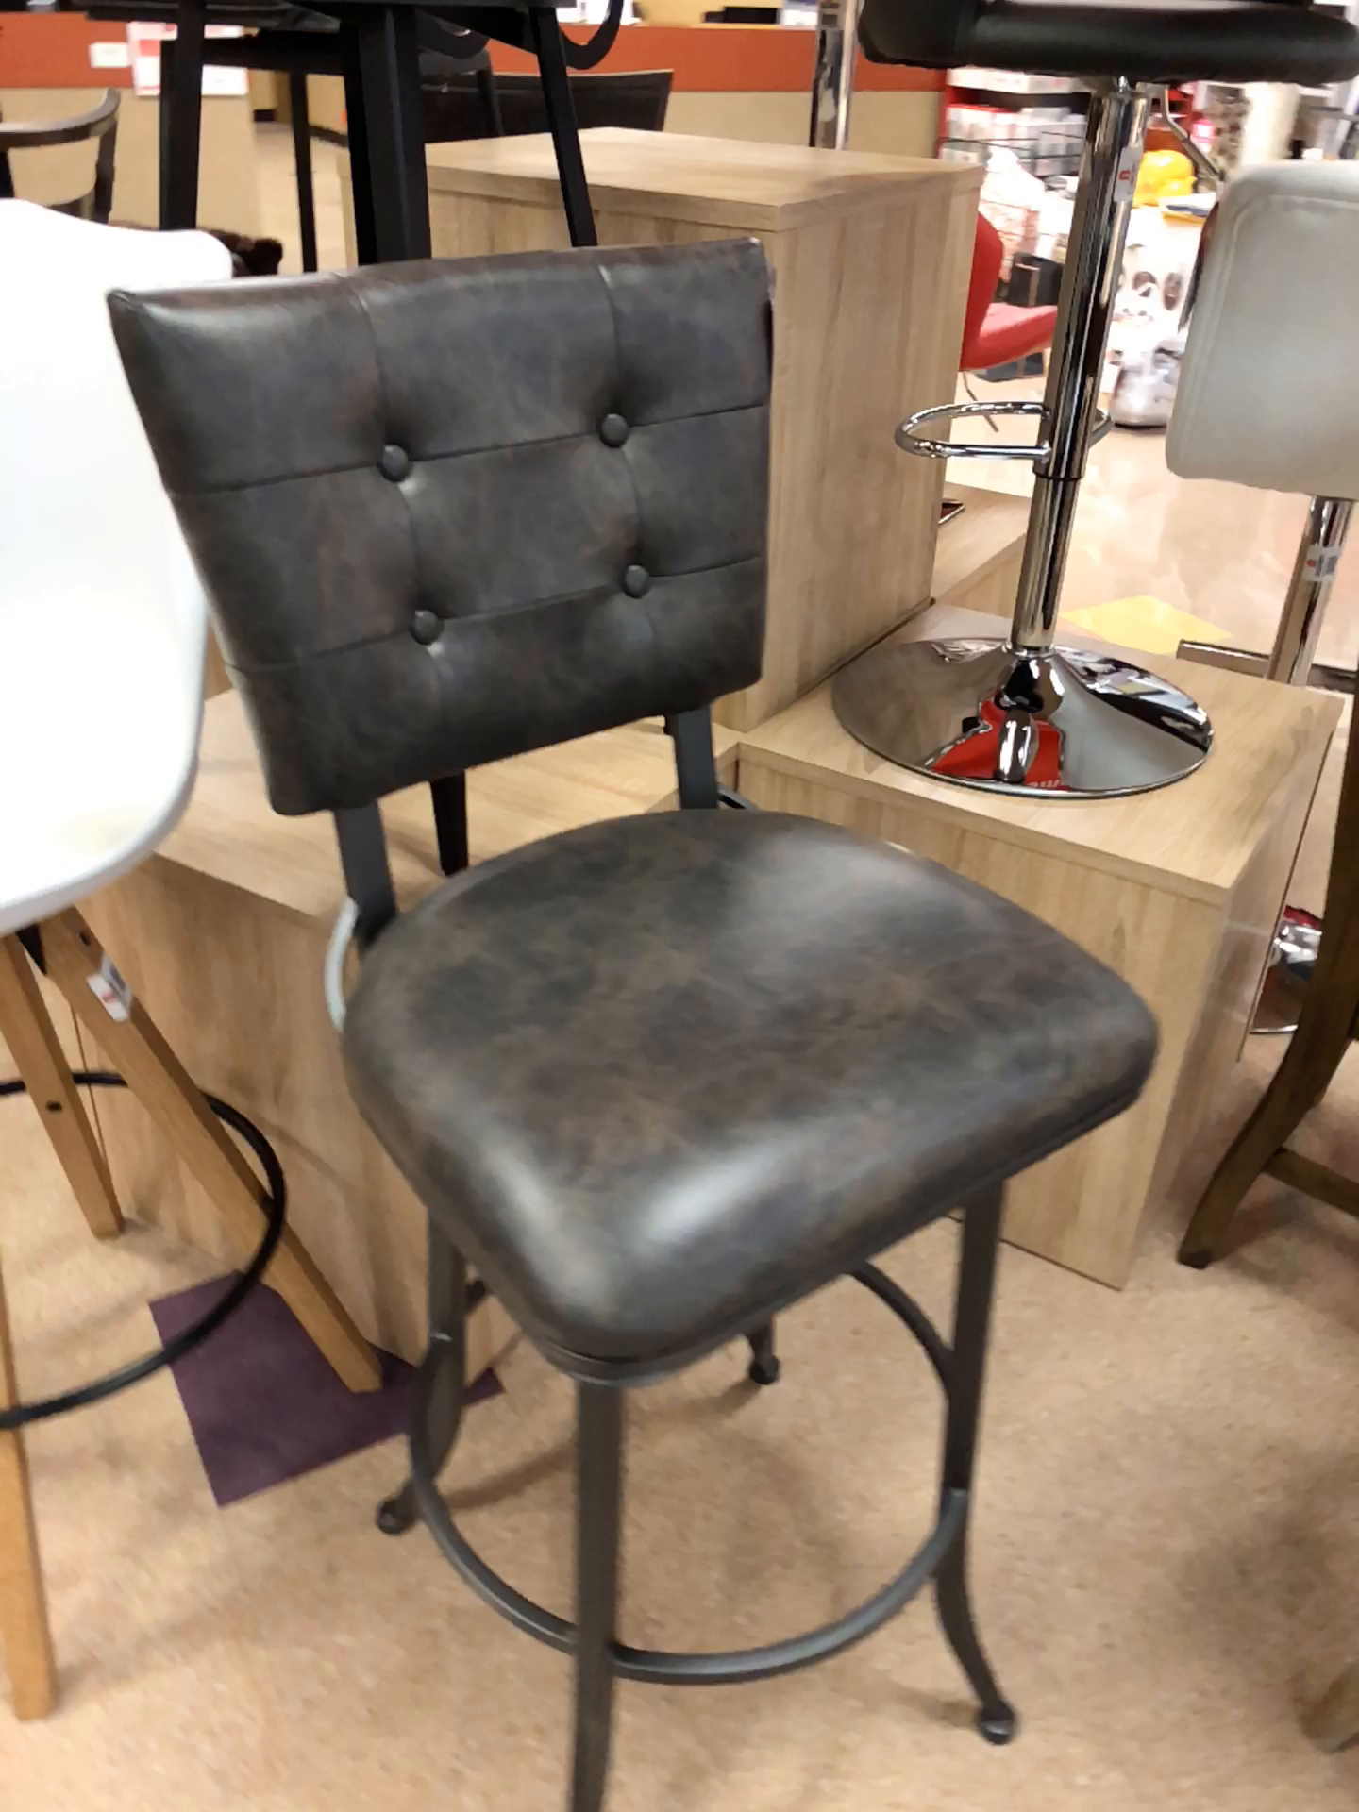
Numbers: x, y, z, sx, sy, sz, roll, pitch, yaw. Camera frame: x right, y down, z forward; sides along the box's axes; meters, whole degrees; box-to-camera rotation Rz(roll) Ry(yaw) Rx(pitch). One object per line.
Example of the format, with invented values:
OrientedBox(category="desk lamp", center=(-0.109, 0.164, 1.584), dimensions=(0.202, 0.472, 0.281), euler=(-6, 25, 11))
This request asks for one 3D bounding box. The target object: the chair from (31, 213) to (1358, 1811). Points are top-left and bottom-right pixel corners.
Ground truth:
OrientedBox(category="chair", center=(0.000, 0.166, 1.055), dimensions=(0.519, 1.108, 0.513), euler=(-20, 38, -29))
